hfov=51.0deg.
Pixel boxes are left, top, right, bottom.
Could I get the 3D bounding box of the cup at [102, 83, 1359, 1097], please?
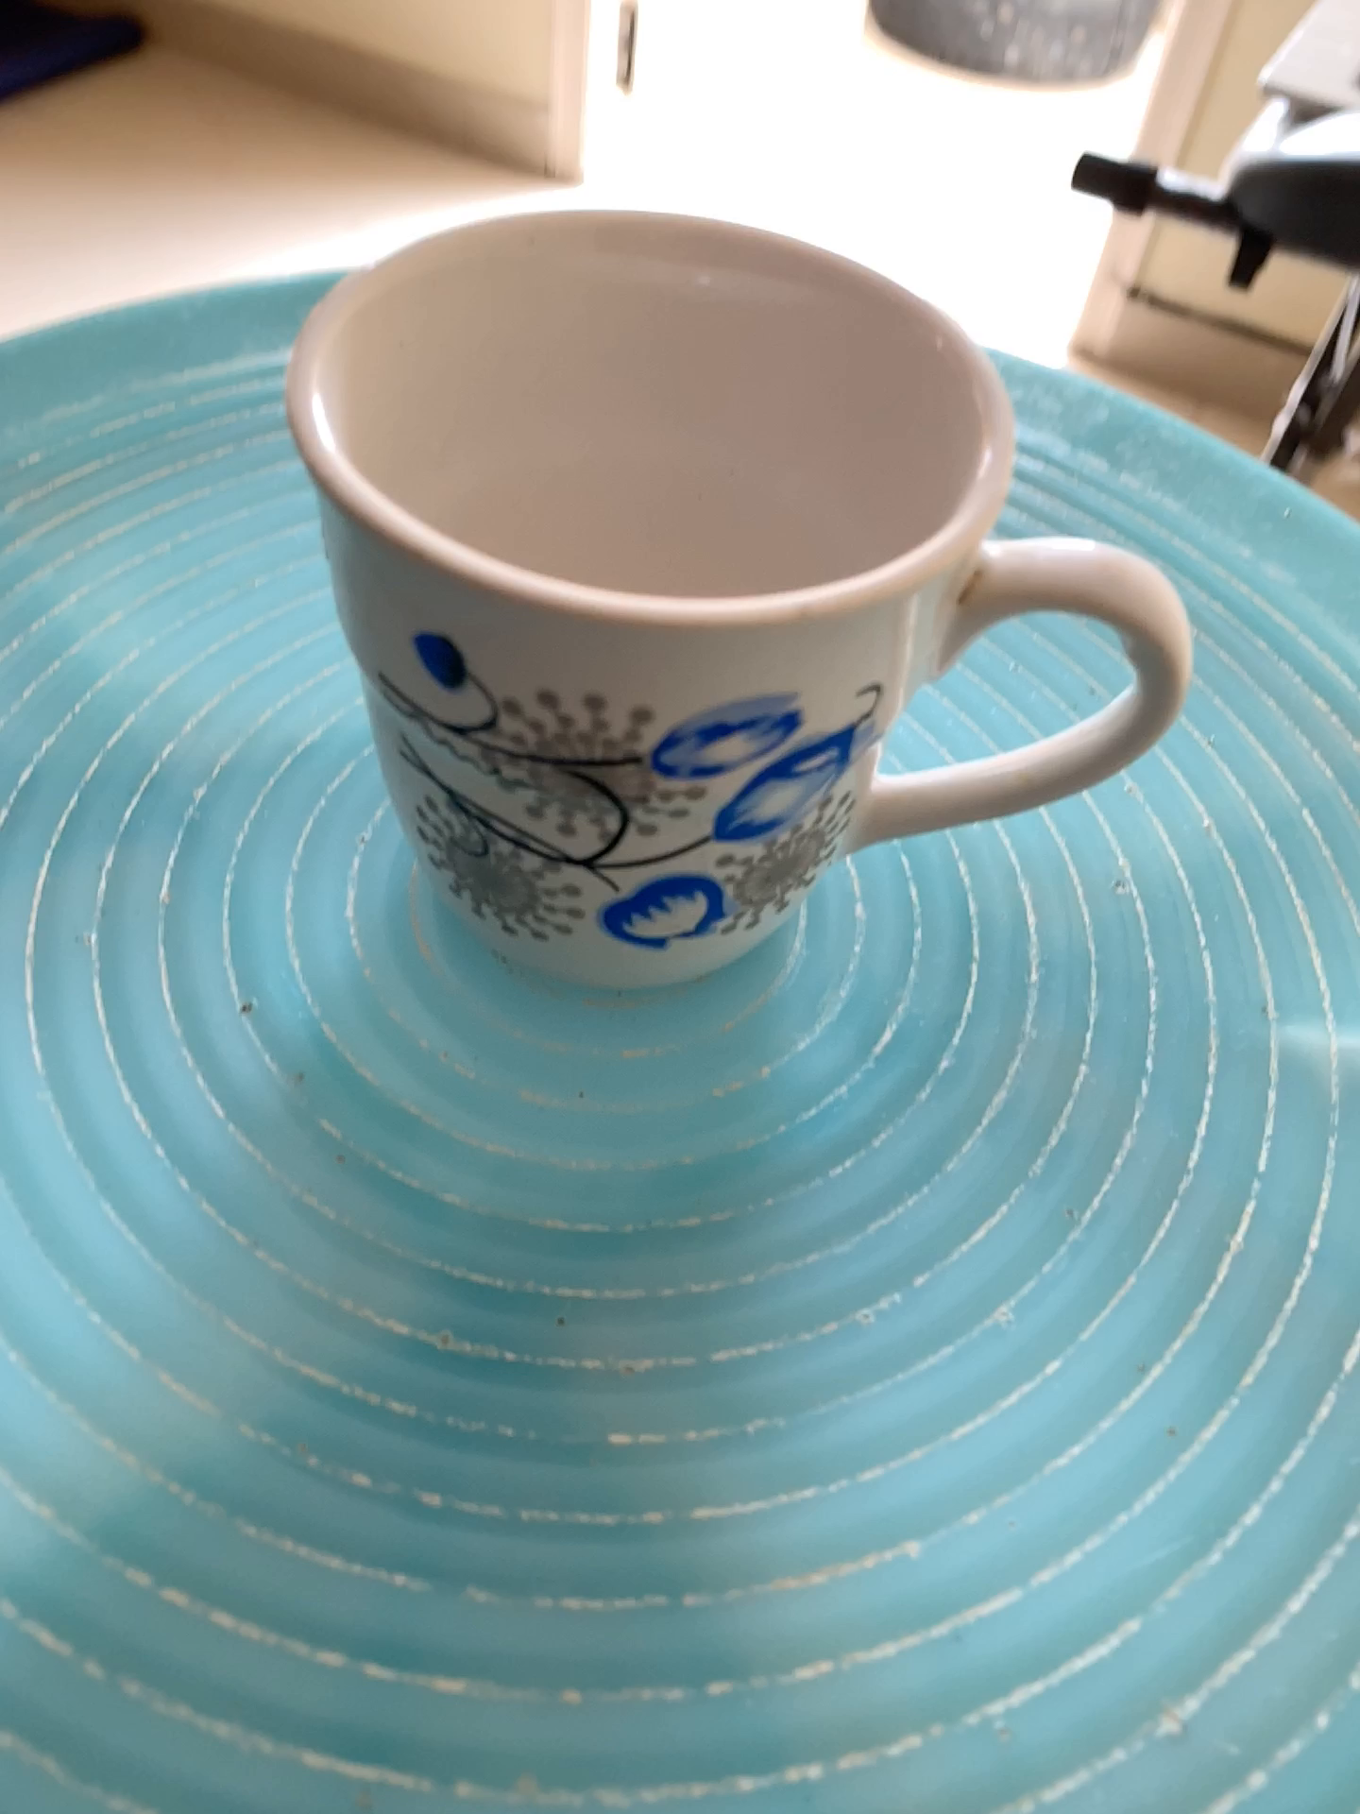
[{"bbox_3d":[0.005,-0.031,0.143,0.090,0.060,0.070,6,50,-3],"label":"cup"}]
